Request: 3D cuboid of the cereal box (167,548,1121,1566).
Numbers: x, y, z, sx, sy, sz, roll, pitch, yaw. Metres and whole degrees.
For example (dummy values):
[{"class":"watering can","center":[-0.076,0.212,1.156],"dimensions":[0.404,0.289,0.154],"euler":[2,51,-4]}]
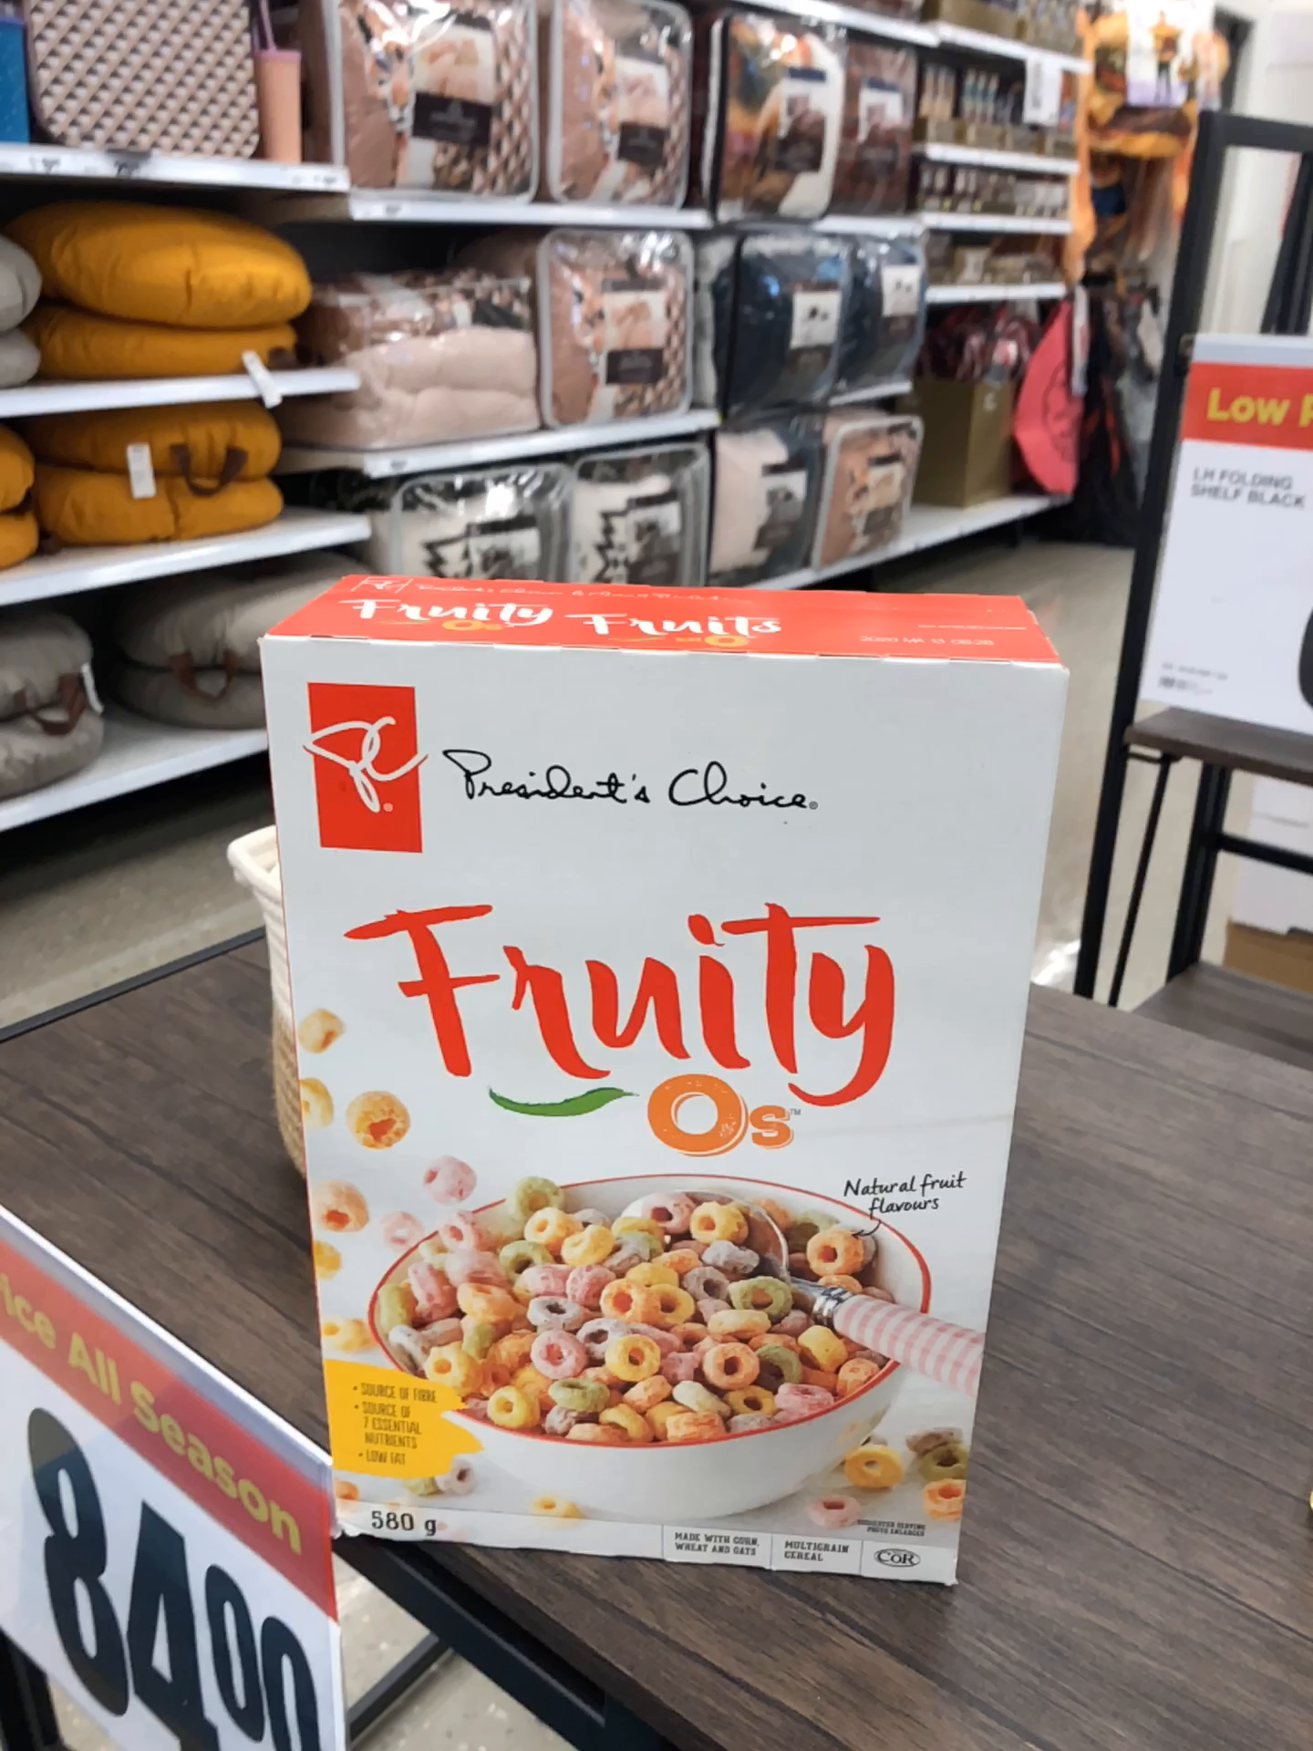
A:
[{"class":"cereal box","center":[-0.004,0.056,0.426],"dimensions":[0.220,0.279,0.080],"euler":[3,23,4]}]
